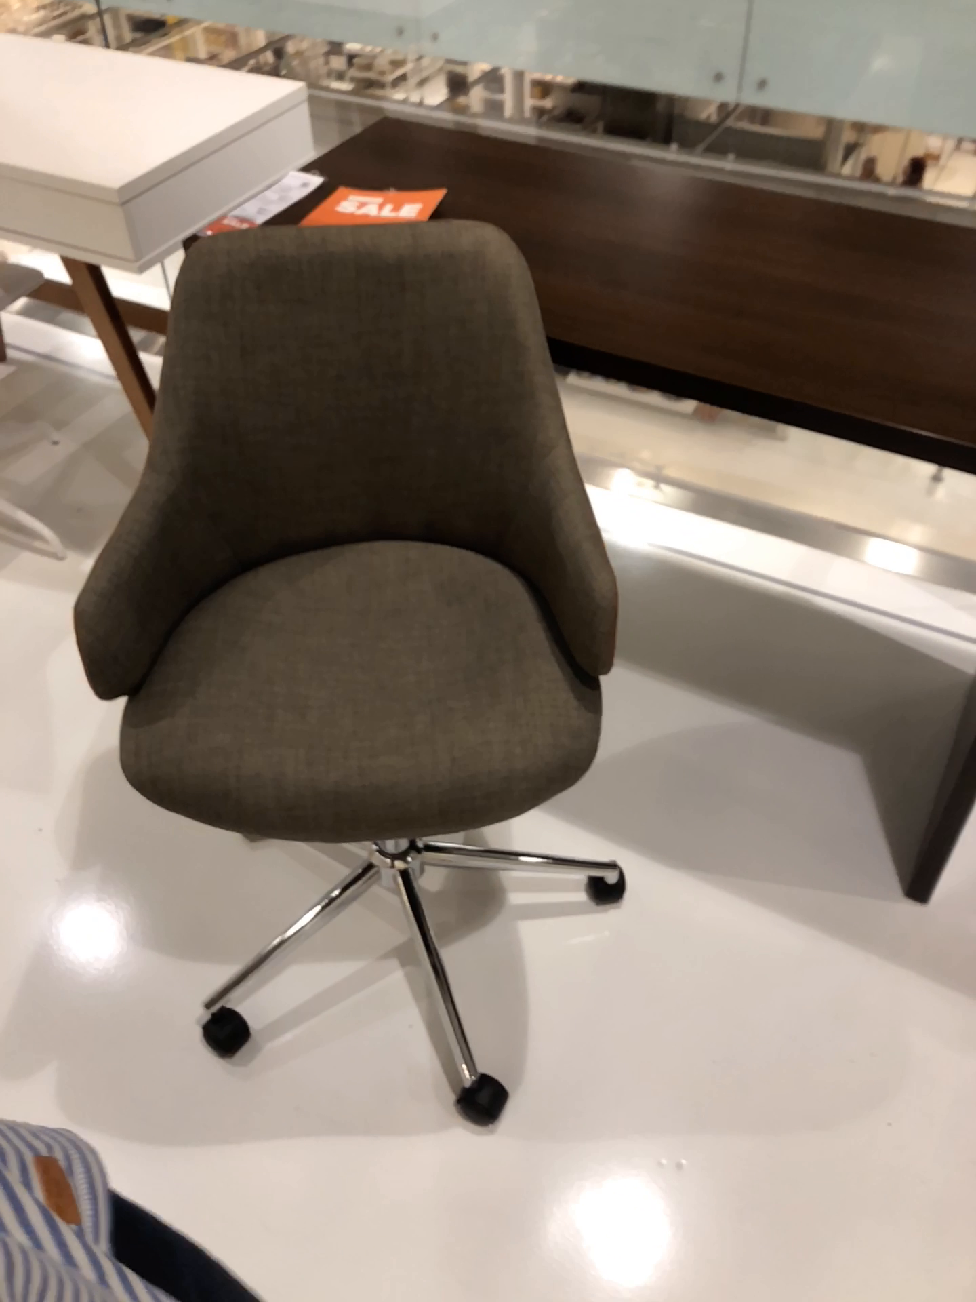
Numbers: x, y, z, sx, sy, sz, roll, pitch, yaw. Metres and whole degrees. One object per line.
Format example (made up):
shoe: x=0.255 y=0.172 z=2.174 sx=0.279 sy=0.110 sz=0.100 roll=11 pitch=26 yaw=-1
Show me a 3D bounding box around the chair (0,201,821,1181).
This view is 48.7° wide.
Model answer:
chair: x=-0.095 y=0.069 z=1.276 sx=0.610 sy=0.883 sz=0.706 roll=-4 pitch=45 yaw=-2
